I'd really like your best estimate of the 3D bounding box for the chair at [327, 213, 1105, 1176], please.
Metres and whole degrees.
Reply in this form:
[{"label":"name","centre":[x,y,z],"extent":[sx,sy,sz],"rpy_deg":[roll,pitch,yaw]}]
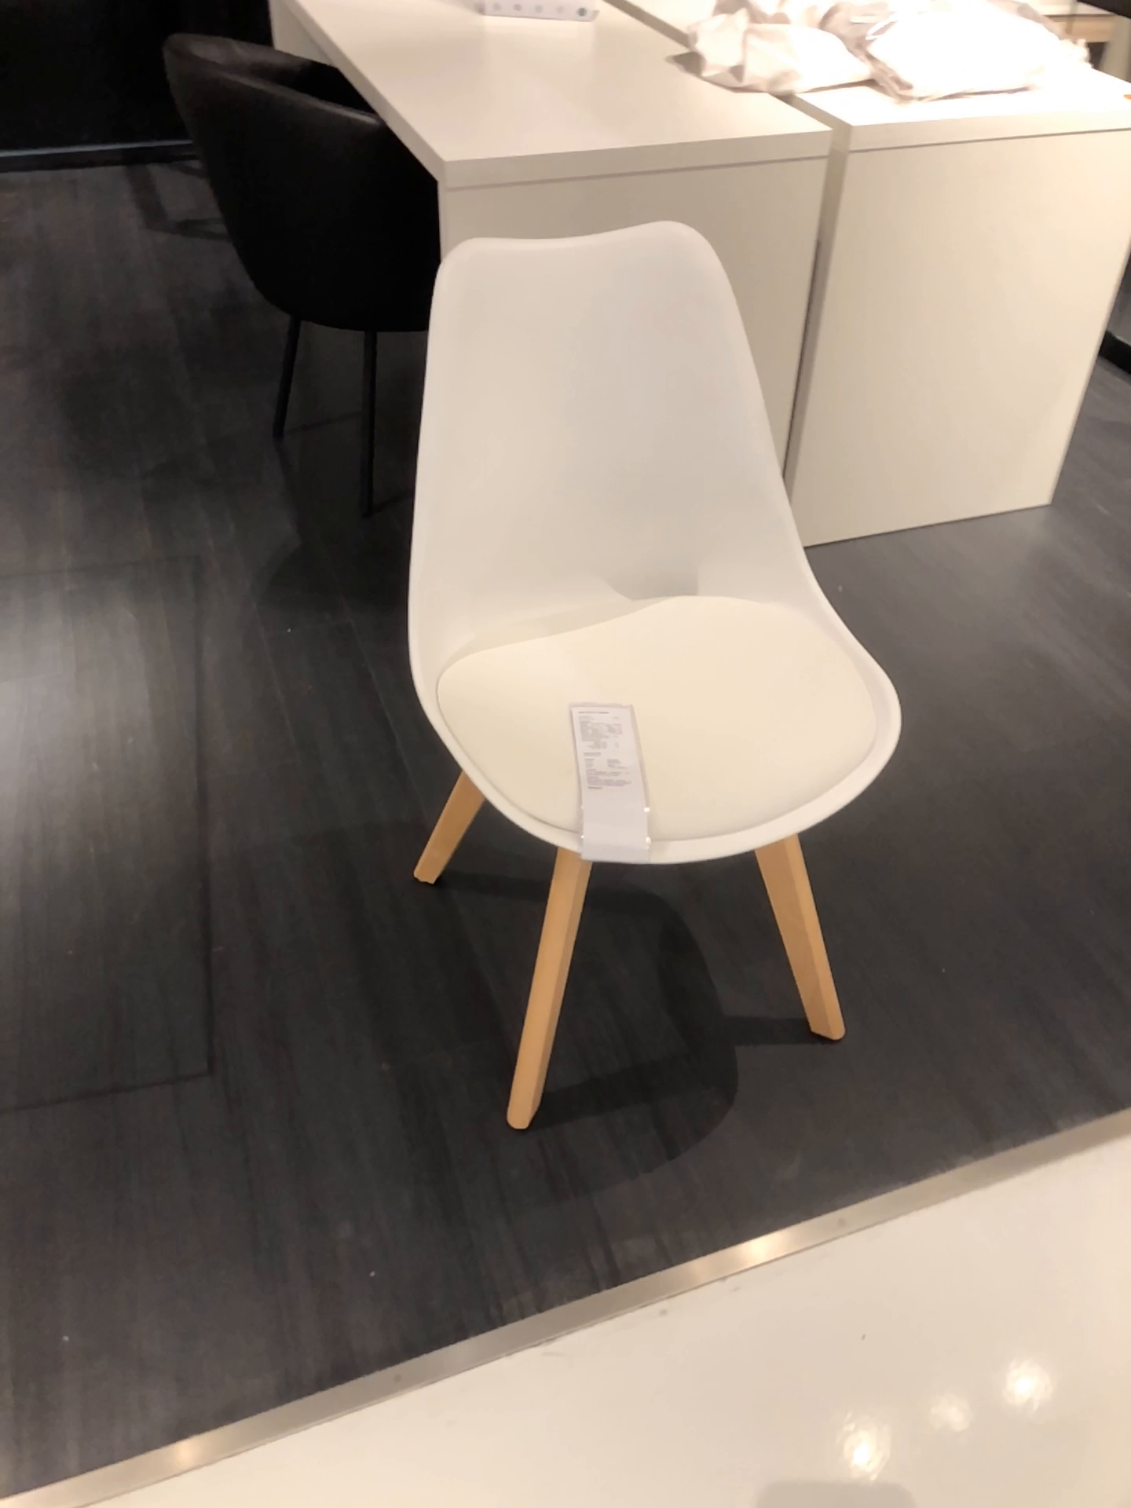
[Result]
[{"label":"chair","centre":[0.076,-0.067,1.310],"extent":[0.500,0.784,0.534],"rpy_deg":[-10,41,-14]}]
